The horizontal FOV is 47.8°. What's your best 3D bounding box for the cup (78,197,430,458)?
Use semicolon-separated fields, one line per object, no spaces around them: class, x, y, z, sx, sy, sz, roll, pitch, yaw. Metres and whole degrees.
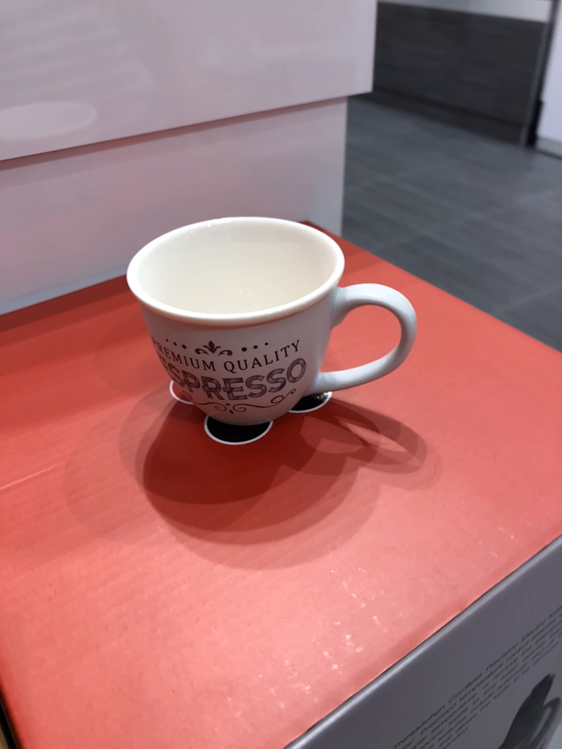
cup;-0.002;-0.021;0.207;0.090;0.040;0.080;8;37;12
